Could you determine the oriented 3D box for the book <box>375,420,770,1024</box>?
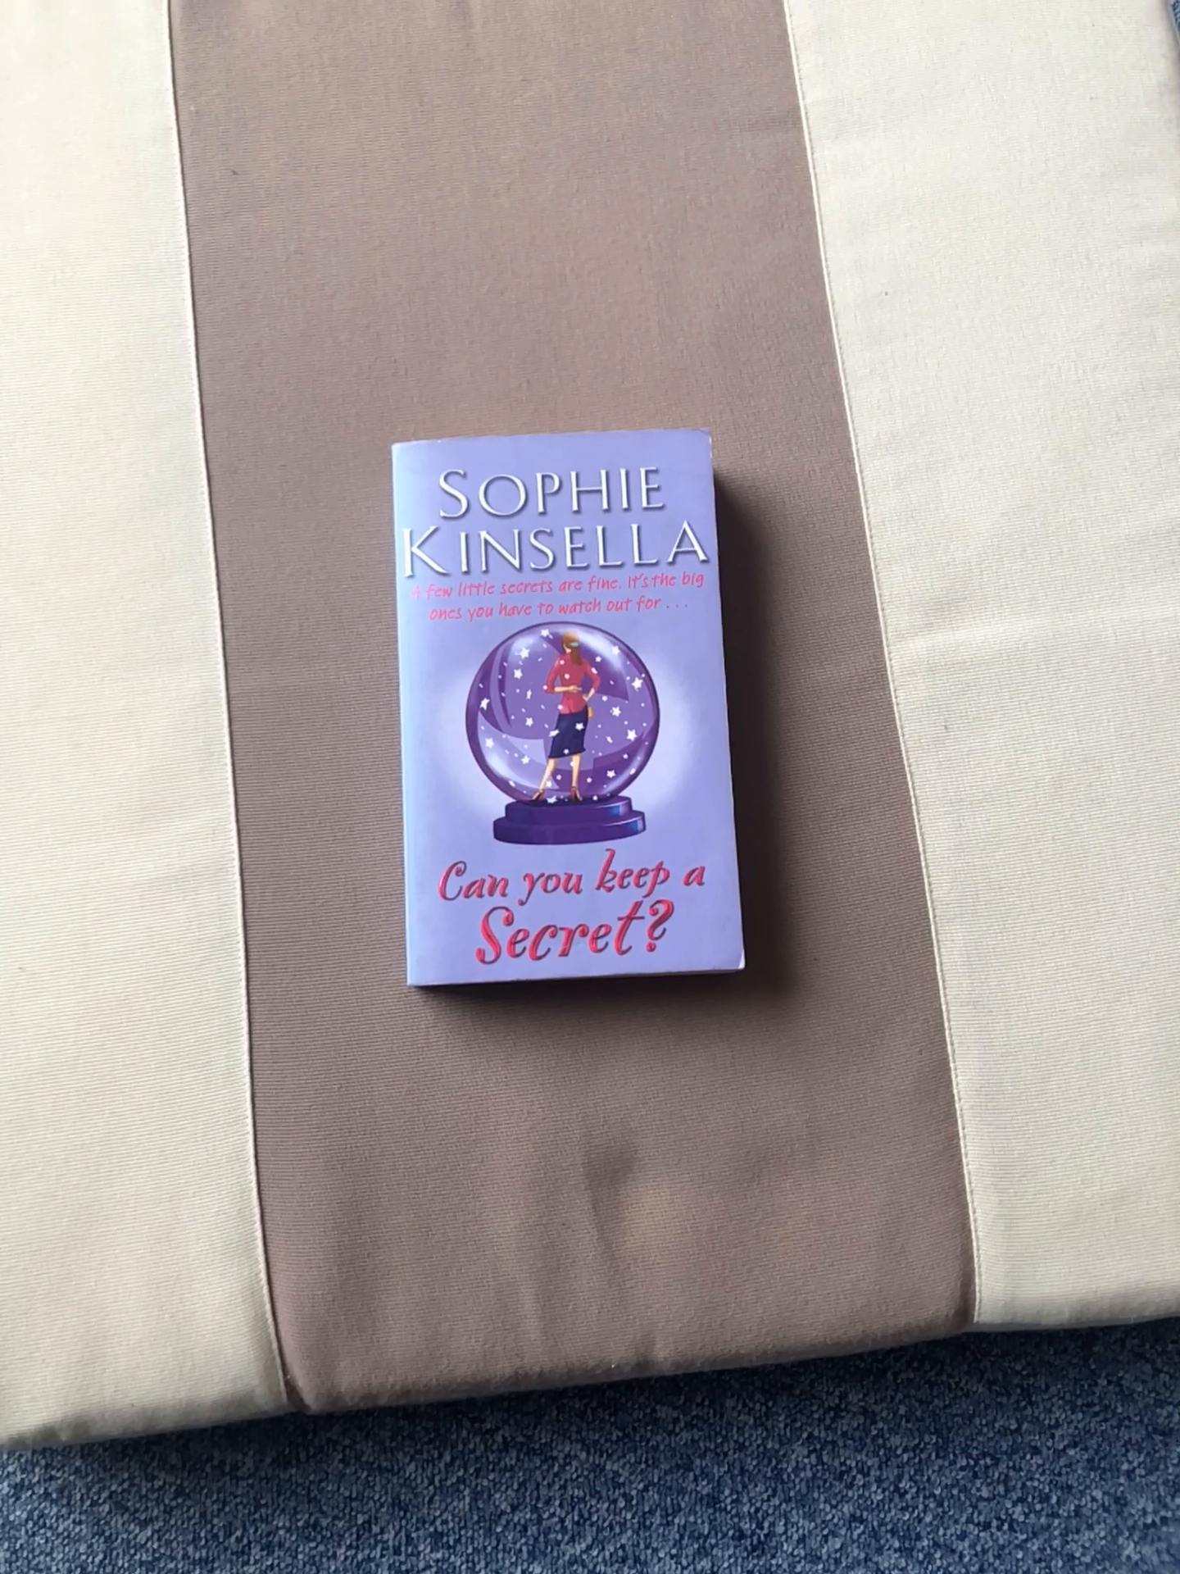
[{"bbox_3d":[-0.008,-0.020,0.409,0.110,0.040,0.180,-2,81,-2],"label":"book"}]
